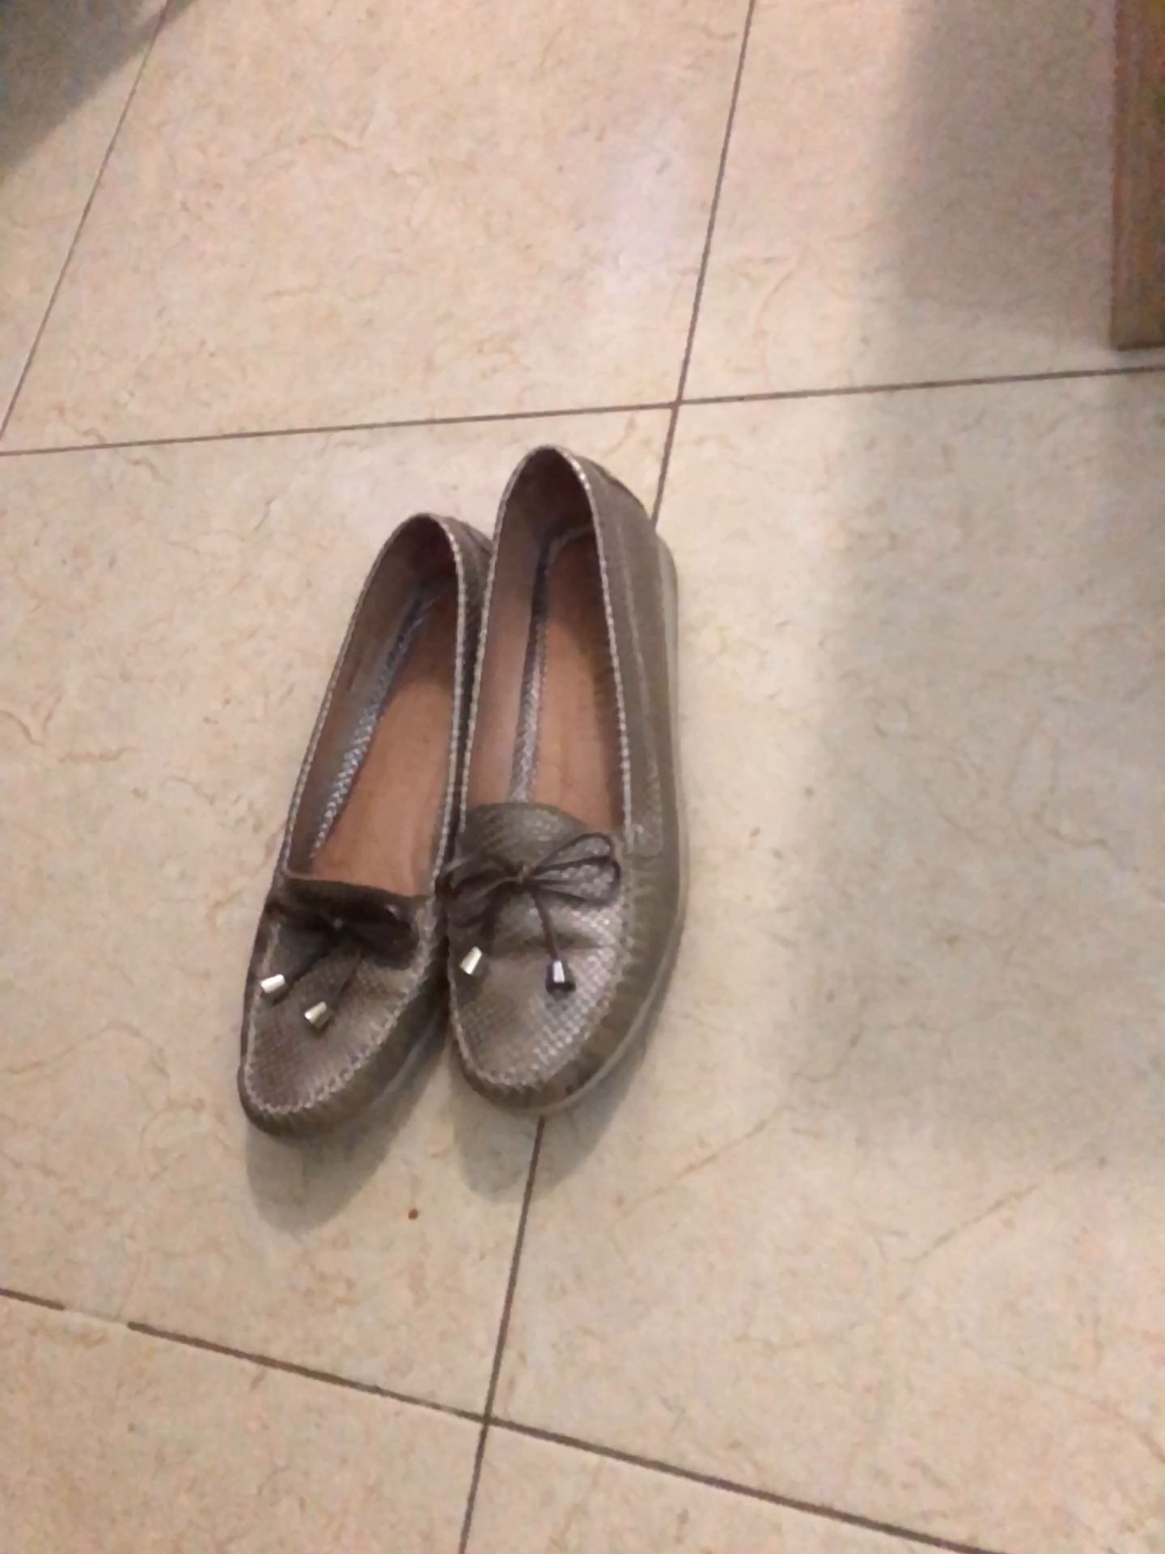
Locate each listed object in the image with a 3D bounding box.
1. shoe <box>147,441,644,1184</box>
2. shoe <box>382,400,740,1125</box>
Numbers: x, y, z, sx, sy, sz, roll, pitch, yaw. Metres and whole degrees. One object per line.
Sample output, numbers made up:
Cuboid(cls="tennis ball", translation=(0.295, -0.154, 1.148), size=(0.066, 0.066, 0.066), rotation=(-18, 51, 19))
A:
Cuboid(cls="shoe", translation=(-0.069, 0.006, 0.553), size=(0.100, 0.080, 0.300), rotation=(8, 71, 25))
Cuboid(cls="shoe", translation=(0.001, -0.007, 0.512), size=(0.100, 0.080, 0.270), rotation=(-4, 66, 20))
